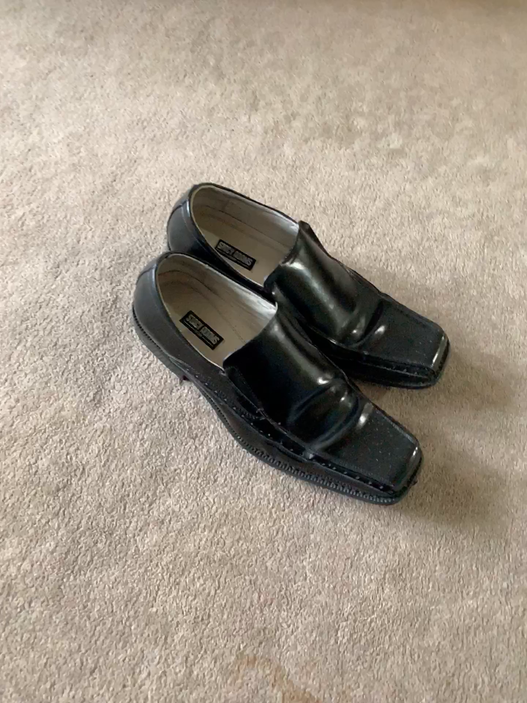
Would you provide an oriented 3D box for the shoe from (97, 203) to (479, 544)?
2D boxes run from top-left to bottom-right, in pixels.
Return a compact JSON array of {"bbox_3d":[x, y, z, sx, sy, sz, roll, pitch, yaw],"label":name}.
[{"bbox_3d":[0.011,0.022,0.503,0.320,0.119,0.111,38,65,10],"label":"shoe"}]

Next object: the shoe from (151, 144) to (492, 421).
[{"bbox_3d":[0.049,-0.068,0.561,0.310,0.119,0.111,29,64,5],"label":"shoe"}]
